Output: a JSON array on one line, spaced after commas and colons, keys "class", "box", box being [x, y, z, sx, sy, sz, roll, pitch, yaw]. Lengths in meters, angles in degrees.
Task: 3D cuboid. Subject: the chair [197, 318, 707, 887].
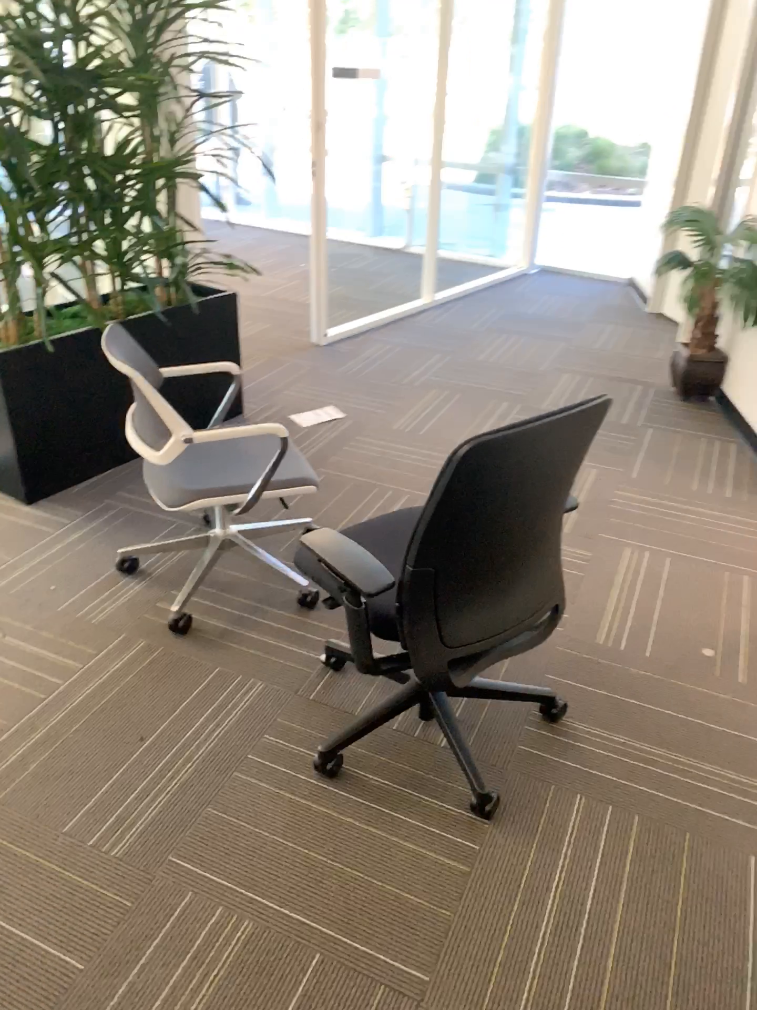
[{"class": "chair", "box": [0.119, 0.139, 1.826, 0.771, 0.885, 0.744, -18, 35, -31]}]

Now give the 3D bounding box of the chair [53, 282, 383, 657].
[{"class": "chair", "box": [-0.524, -0.183, 2.461, 0.740, 0.796, 0.844, -13, 32, -25]}]
